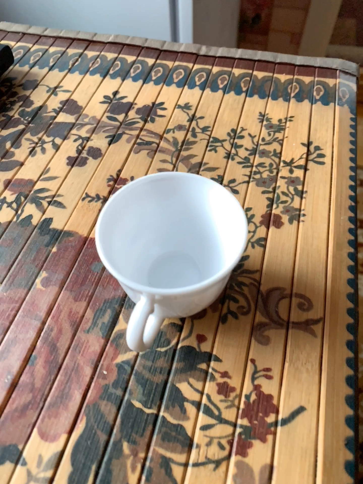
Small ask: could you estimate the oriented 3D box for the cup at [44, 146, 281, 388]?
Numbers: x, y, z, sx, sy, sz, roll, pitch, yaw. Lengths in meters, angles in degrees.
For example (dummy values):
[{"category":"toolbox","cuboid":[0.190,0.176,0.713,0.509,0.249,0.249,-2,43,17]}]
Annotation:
[{"category":"cup","cuboid":[-0.003,0.007,0.164,0.067,0.039,0.081,17,56,12]}]
